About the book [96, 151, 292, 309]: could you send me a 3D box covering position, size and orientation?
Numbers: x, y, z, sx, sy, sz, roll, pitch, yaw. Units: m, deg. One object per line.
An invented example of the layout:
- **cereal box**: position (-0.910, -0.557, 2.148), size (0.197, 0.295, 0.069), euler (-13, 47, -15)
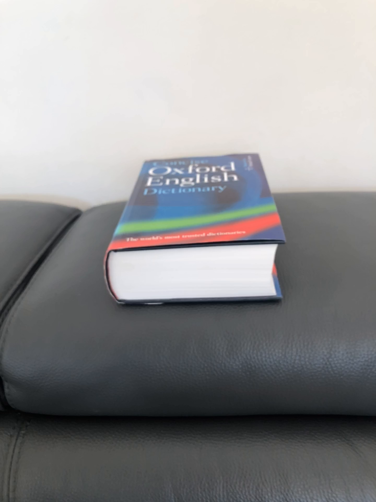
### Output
- **book**: position (0.011, -0.041, 0.490), size (0.170, 0.070, 0.252), euler (-3, 29, 4)
